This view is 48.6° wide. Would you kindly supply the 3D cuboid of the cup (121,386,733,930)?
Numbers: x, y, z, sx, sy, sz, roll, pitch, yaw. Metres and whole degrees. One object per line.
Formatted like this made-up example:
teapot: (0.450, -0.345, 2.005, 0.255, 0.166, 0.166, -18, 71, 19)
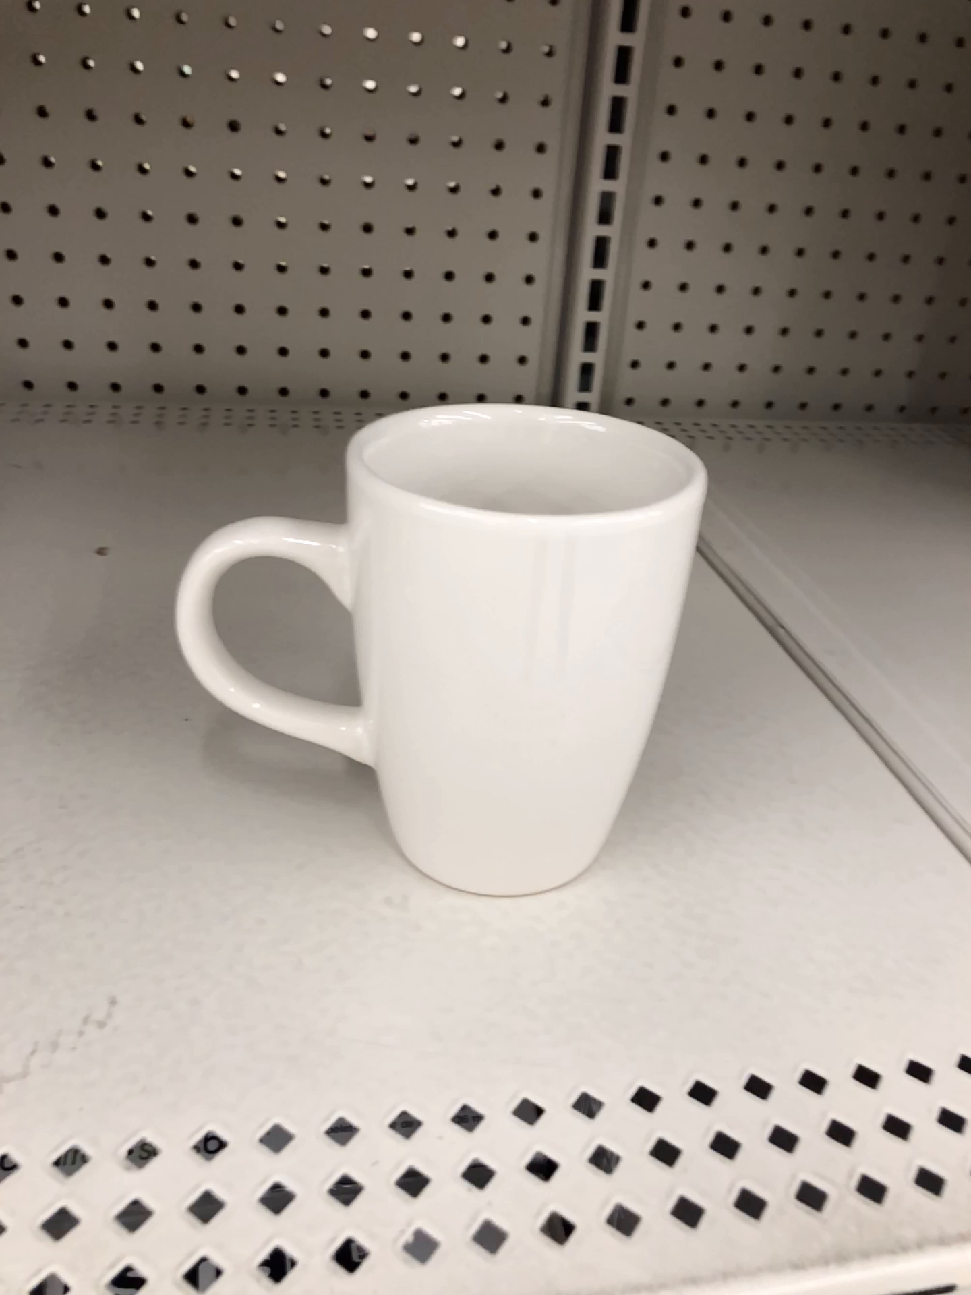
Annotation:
cup: (-0.014, 0.000, 0.280, 0.125, 0.105, 0.081, 5, 28, 0)
